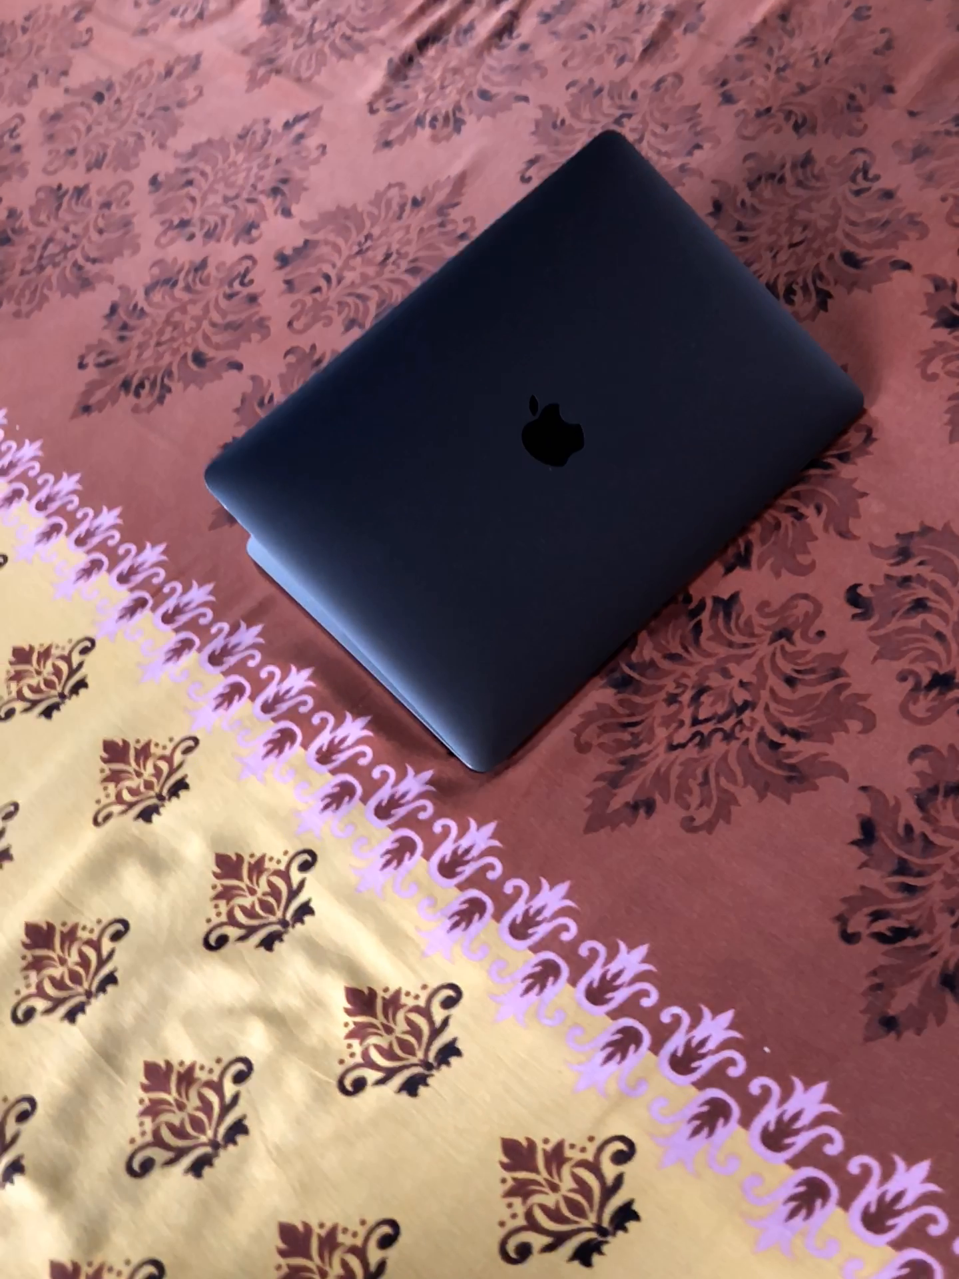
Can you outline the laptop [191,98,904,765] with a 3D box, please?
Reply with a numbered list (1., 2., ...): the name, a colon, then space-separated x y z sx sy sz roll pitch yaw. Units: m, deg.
1. laptop: 0.036 -0.117 0.549 0.285 0.093 0.204 -42 66 -11
